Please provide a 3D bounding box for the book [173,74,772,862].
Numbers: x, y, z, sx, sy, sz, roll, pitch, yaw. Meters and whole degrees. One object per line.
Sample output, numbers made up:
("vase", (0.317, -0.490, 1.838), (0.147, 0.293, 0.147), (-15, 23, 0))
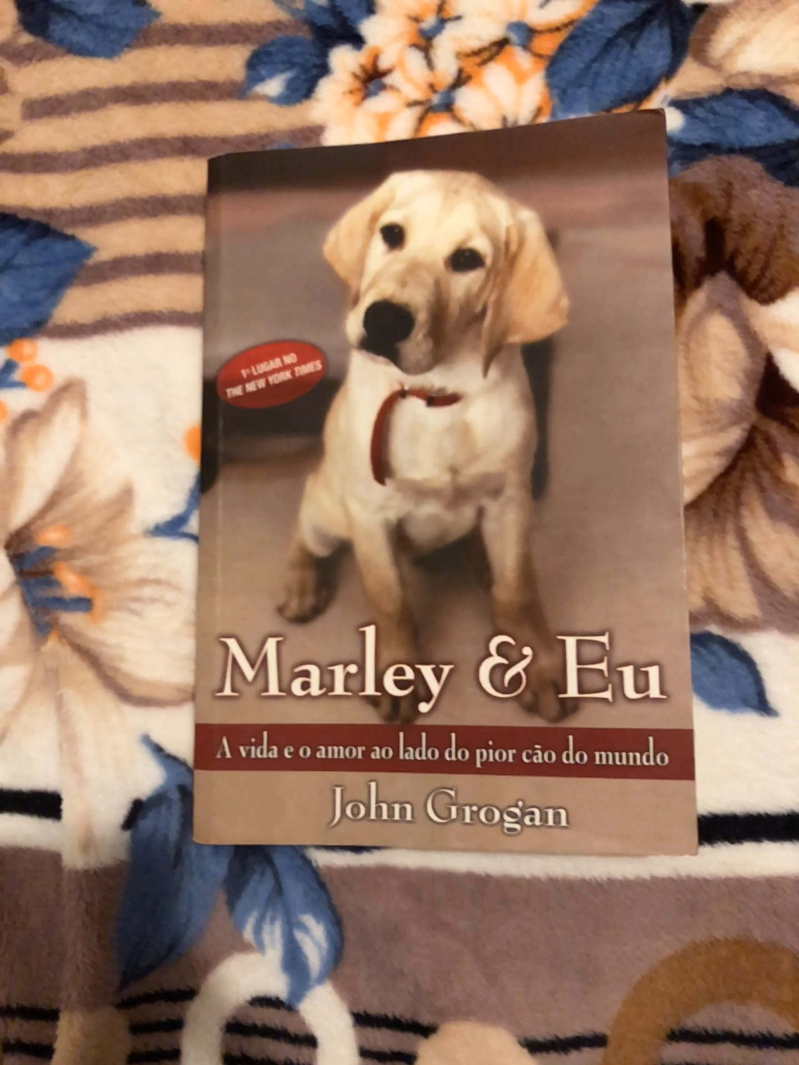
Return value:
("book", (0.018, -0.020, 0.287), (0.170, 0.040, 0.230), (-2, 83, 8))
